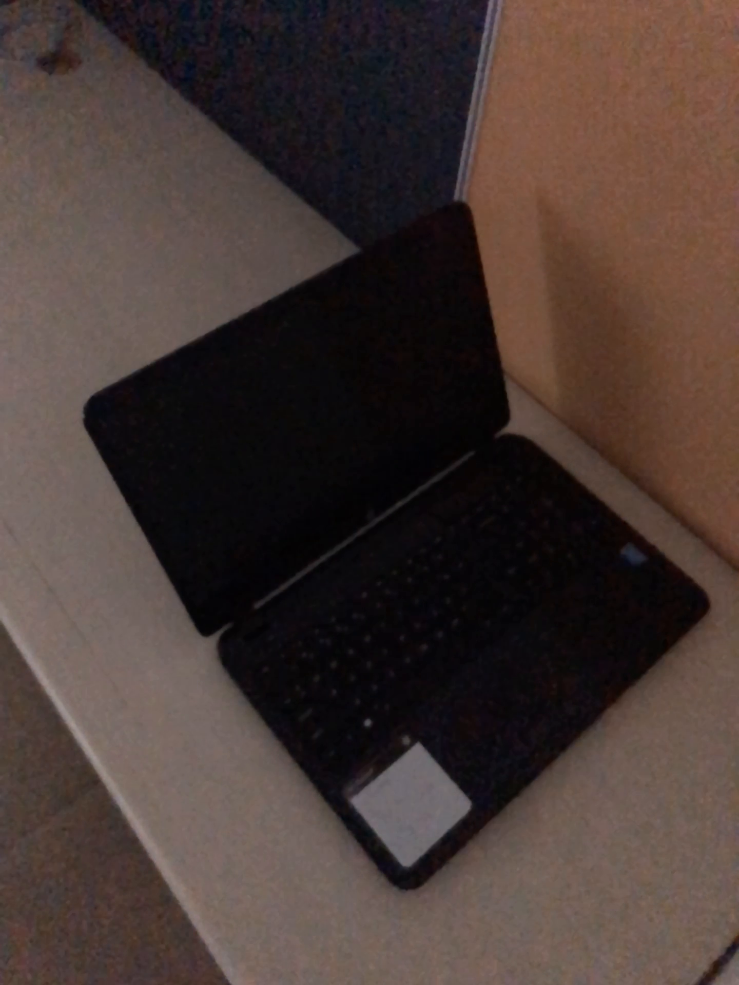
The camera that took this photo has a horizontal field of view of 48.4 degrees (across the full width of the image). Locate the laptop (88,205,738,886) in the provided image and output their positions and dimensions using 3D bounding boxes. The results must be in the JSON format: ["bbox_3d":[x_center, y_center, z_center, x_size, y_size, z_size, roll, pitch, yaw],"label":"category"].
[{"bbox_3d":[0.050,0.020,0.643,0.356,0.205,0.352,-34,64,-22],"label":"laptop"}]
